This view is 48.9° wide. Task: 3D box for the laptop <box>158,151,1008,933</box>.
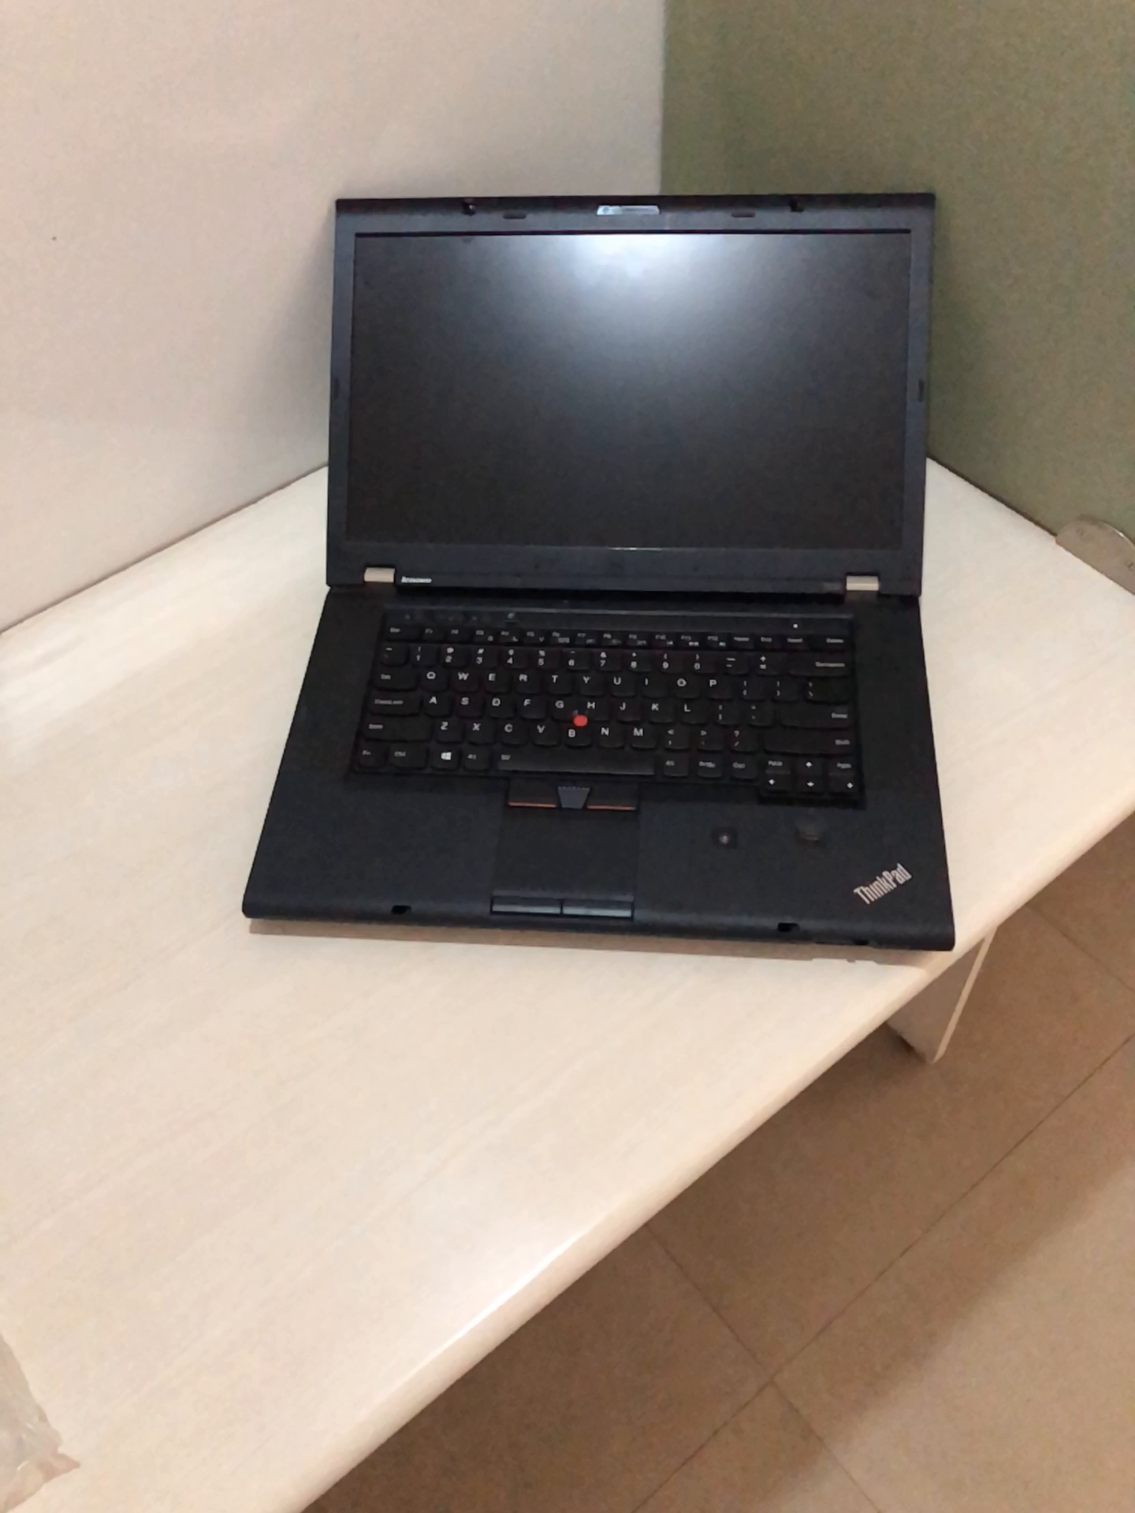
[{"bbox_3d":[0.025,-0.135,0.681,0.353,0.142,0.413,2,57,7],"label":"laptop"}]
